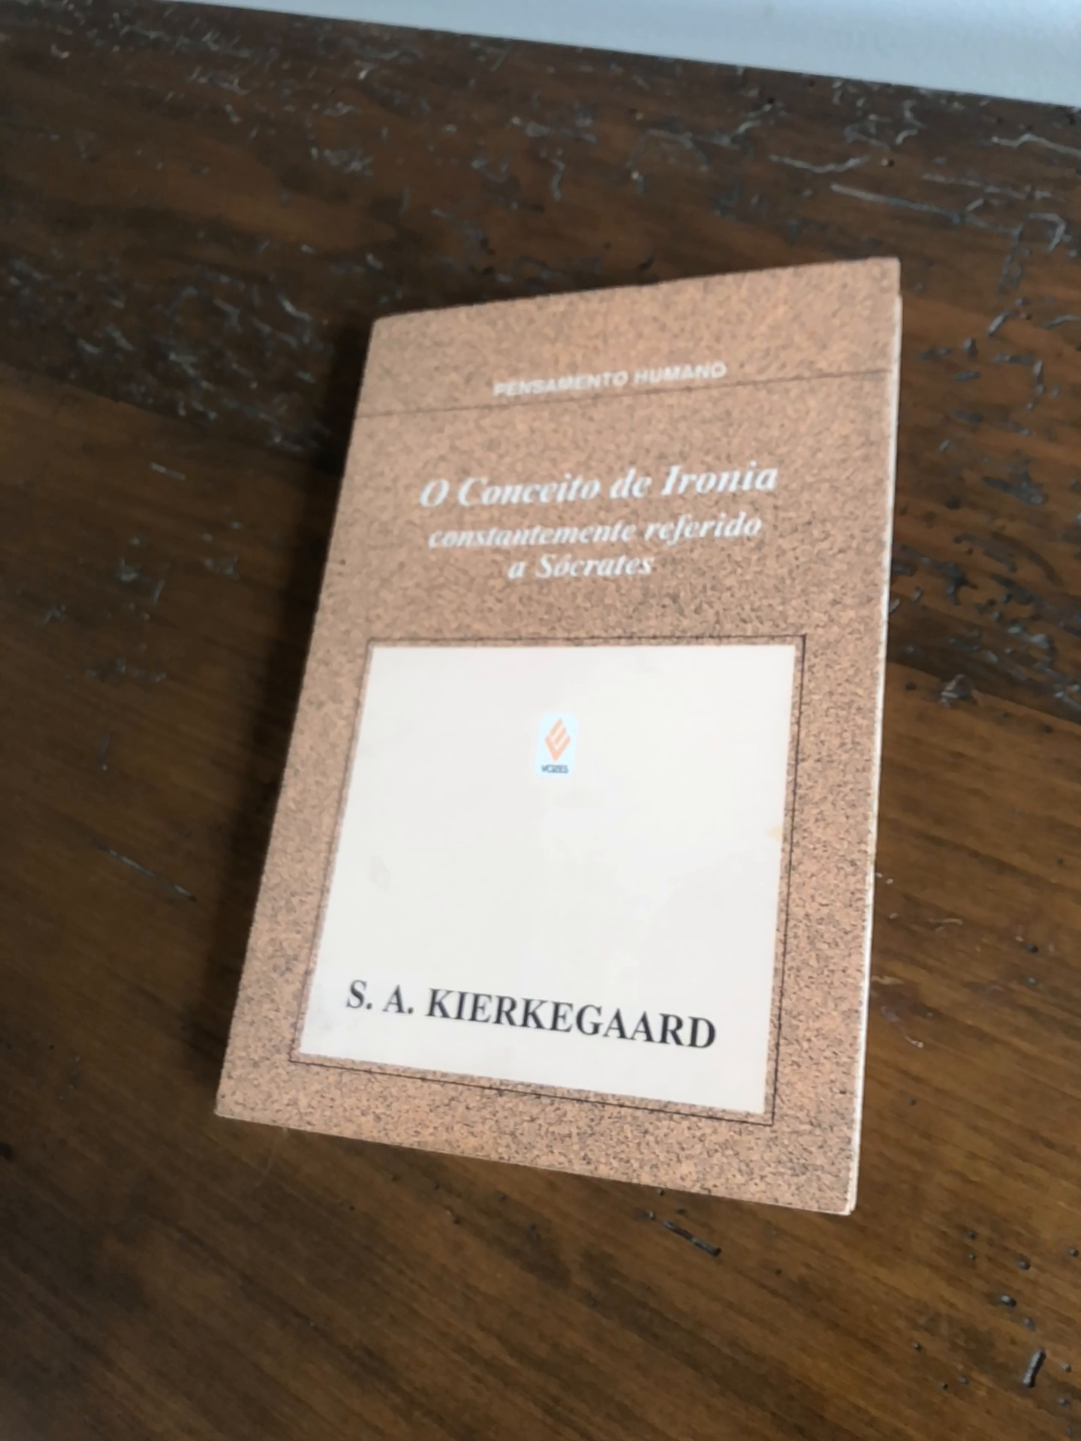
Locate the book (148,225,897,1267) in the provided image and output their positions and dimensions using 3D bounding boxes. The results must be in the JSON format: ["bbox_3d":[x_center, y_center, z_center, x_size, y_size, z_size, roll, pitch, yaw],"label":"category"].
[{"bbox_3d":[0.001,-0.007,0.280,0.144,0.024,0.220,1,71,21],"label":"book"}]
